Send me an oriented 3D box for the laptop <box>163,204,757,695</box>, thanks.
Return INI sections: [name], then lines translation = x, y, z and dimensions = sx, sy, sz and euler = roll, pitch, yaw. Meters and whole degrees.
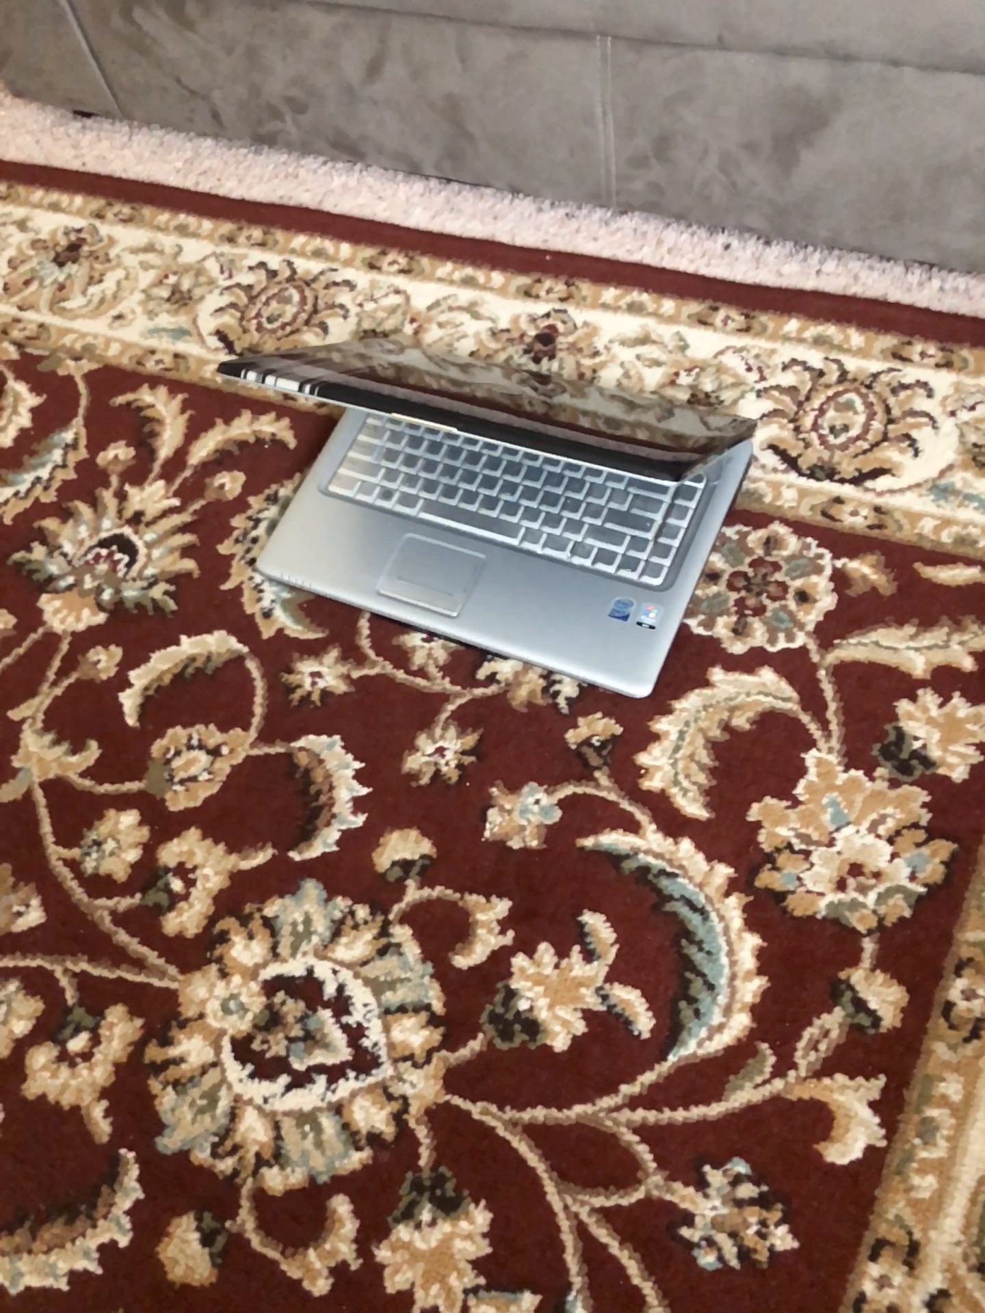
[laptop]
translation = -0.012, -0.162, 0.812
dimensions = 0.342, 0.164, 0.244
euler = 17, 66, 19
